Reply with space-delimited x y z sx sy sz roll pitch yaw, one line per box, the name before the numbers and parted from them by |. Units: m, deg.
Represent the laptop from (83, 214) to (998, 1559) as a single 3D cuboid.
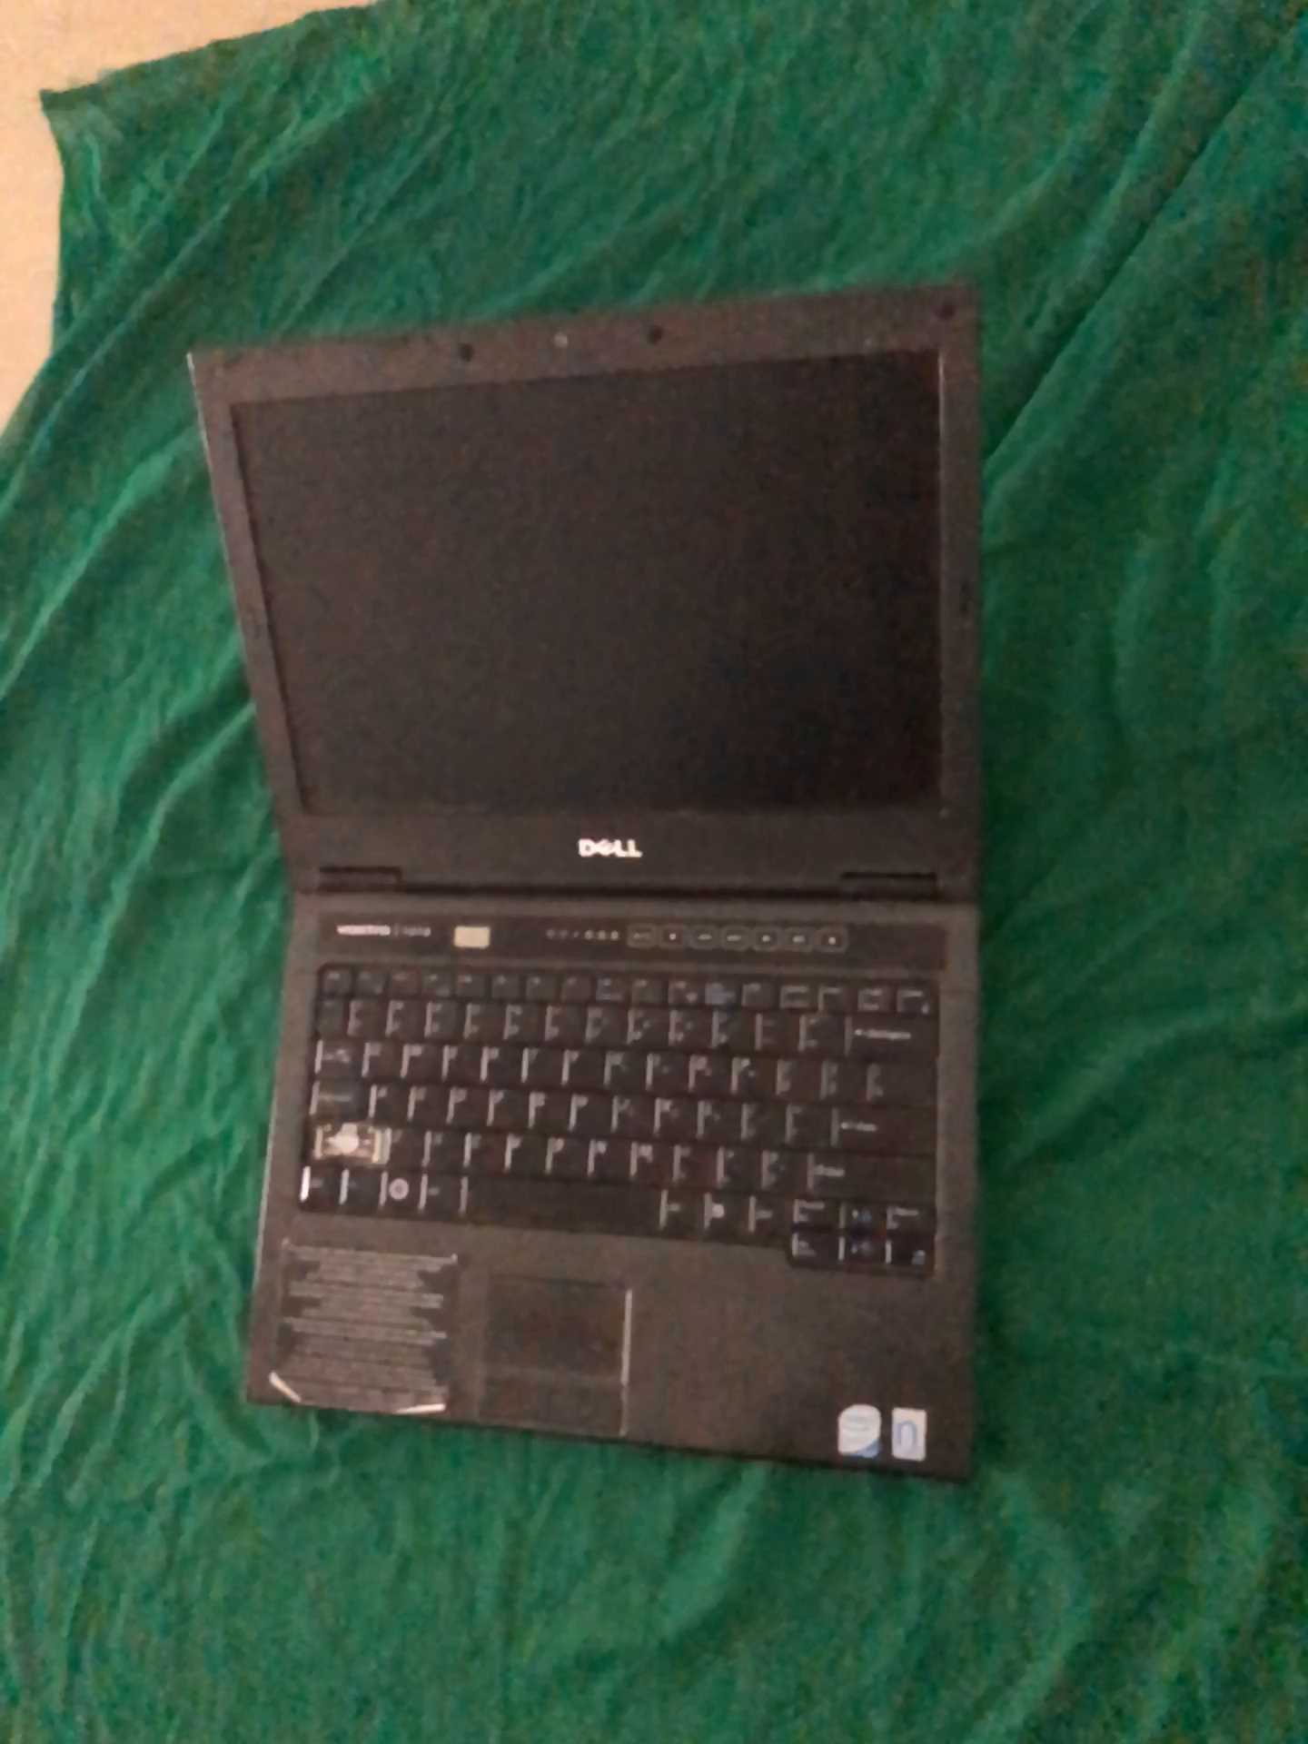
laptop | -0.033 0.007 0.573 0.313 0.127 0.438 1 84 16
